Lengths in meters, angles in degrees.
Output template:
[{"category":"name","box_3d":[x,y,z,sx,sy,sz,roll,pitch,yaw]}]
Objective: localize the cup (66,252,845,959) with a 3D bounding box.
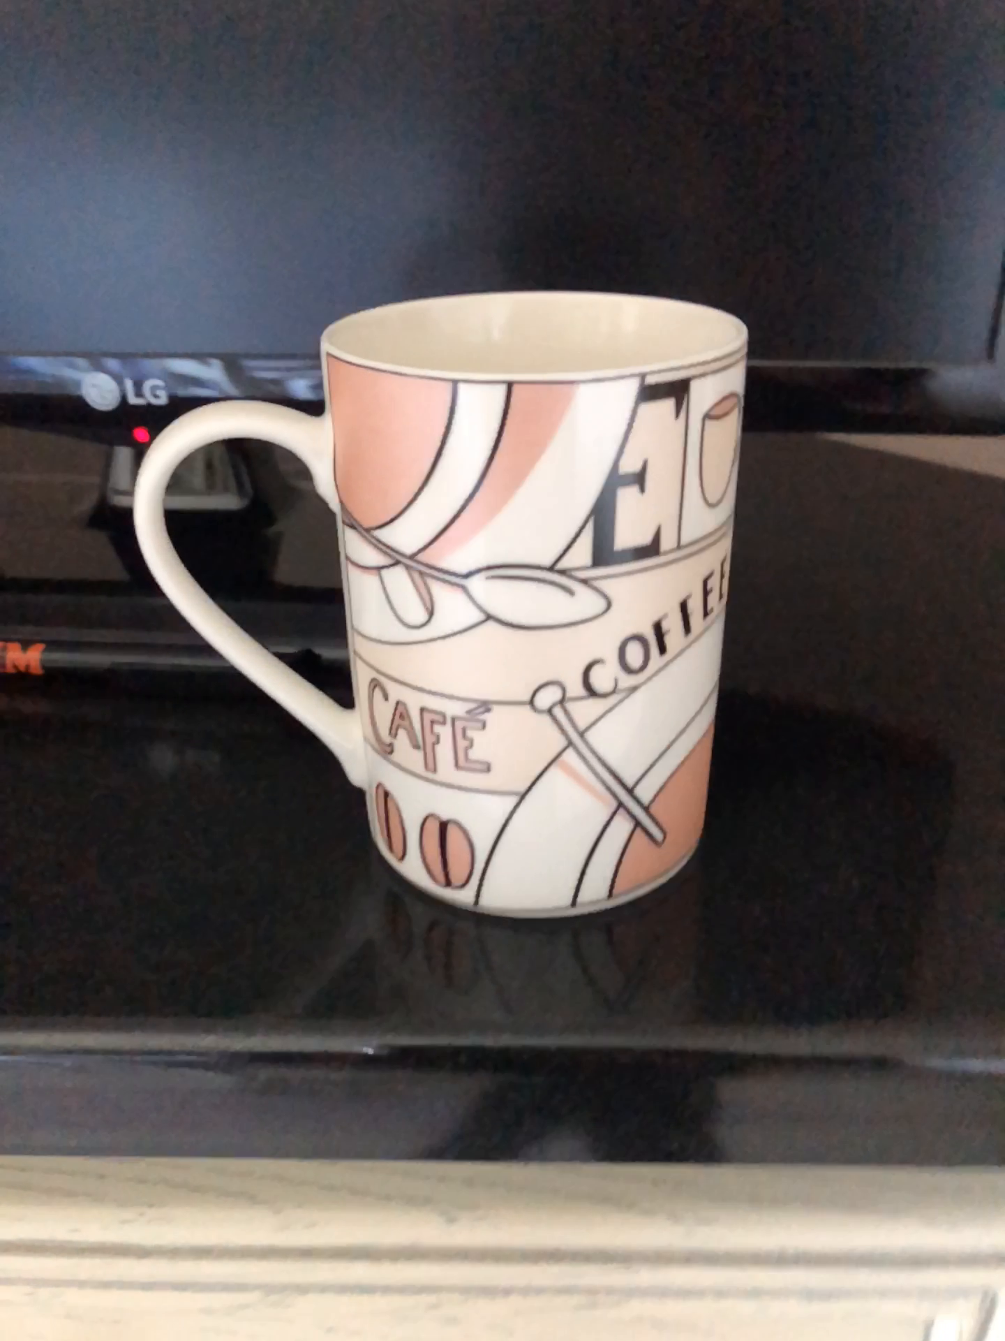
[{"category":"cup","box_3d":[-0.008,-0.016,0.214,0.110,0.109,0.070,-3,28,-5]}]
